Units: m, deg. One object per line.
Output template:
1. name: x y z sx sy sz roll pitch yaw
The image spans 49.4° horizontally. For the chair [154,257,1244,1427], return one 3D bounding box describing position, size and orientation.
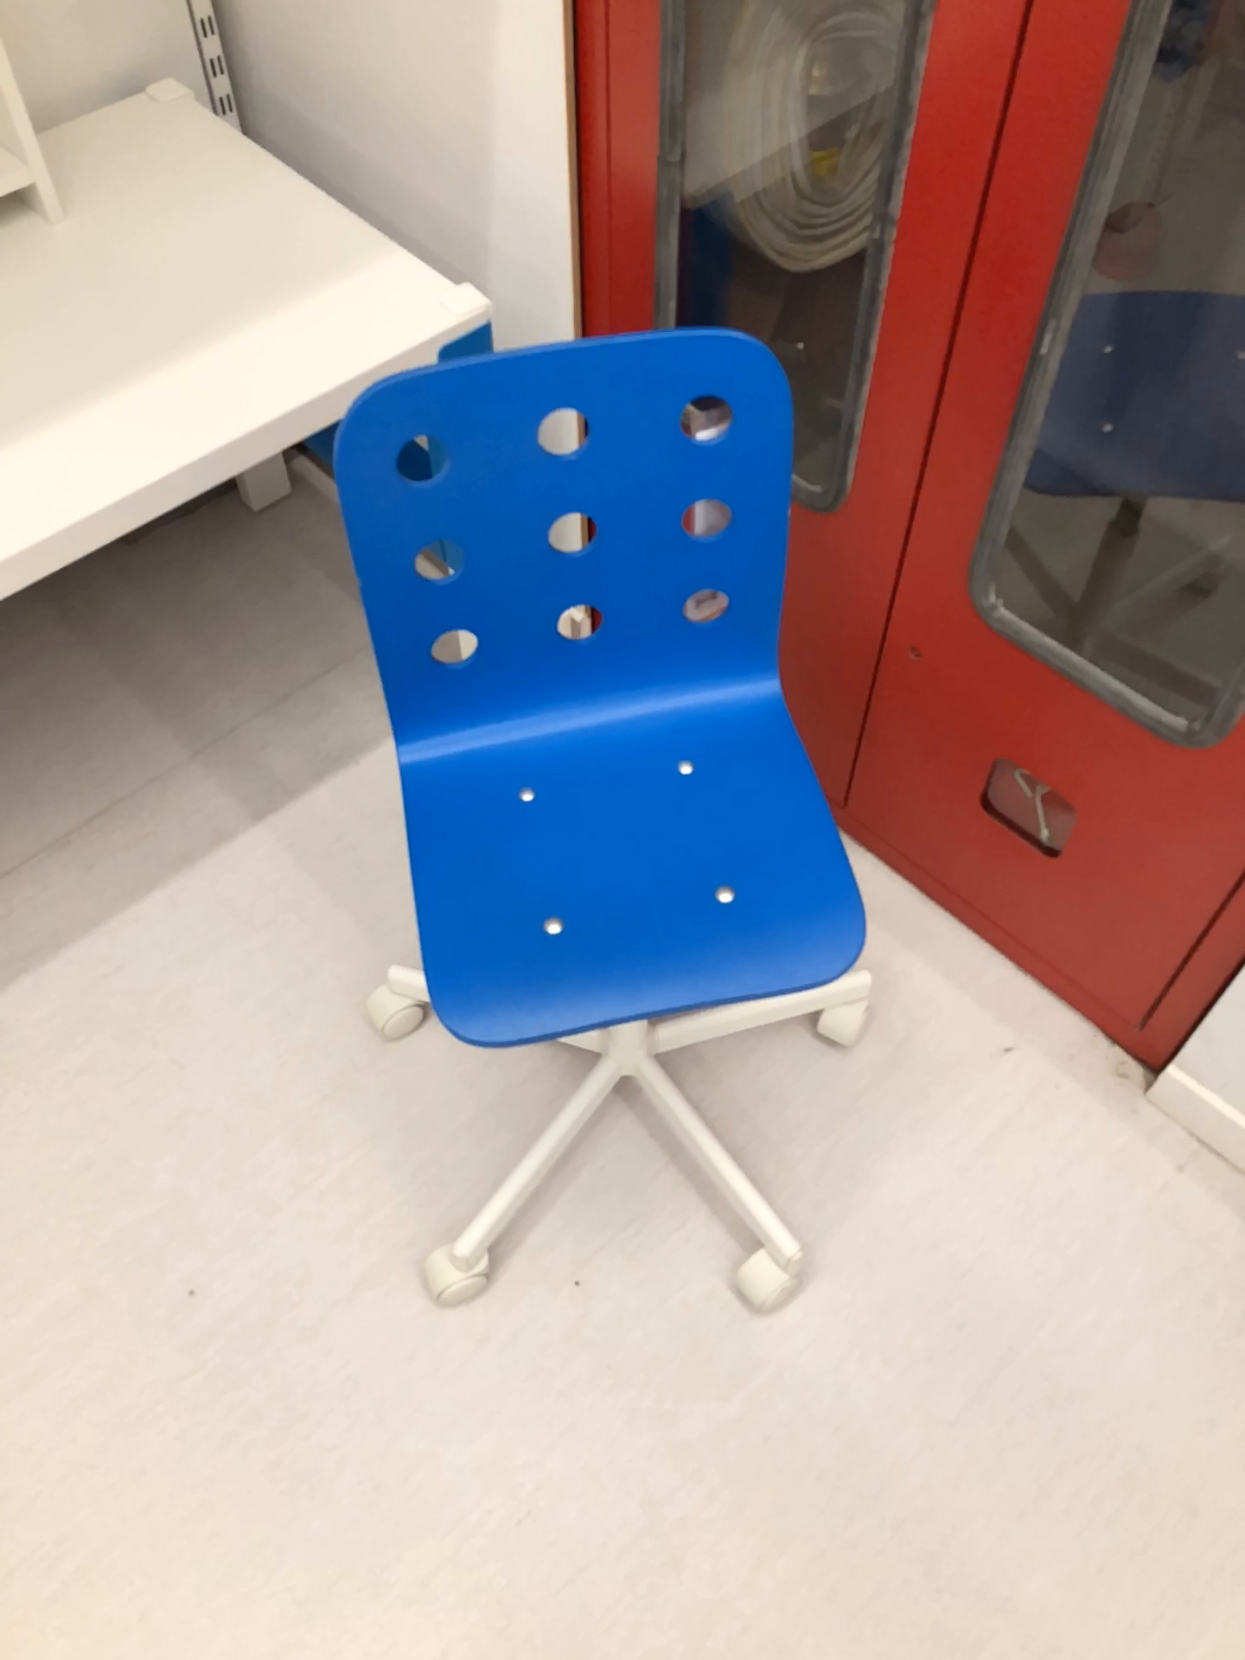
1. chair: 0.031 0.054 1.031 0.550 0.686 0.492 -11 55 -8
